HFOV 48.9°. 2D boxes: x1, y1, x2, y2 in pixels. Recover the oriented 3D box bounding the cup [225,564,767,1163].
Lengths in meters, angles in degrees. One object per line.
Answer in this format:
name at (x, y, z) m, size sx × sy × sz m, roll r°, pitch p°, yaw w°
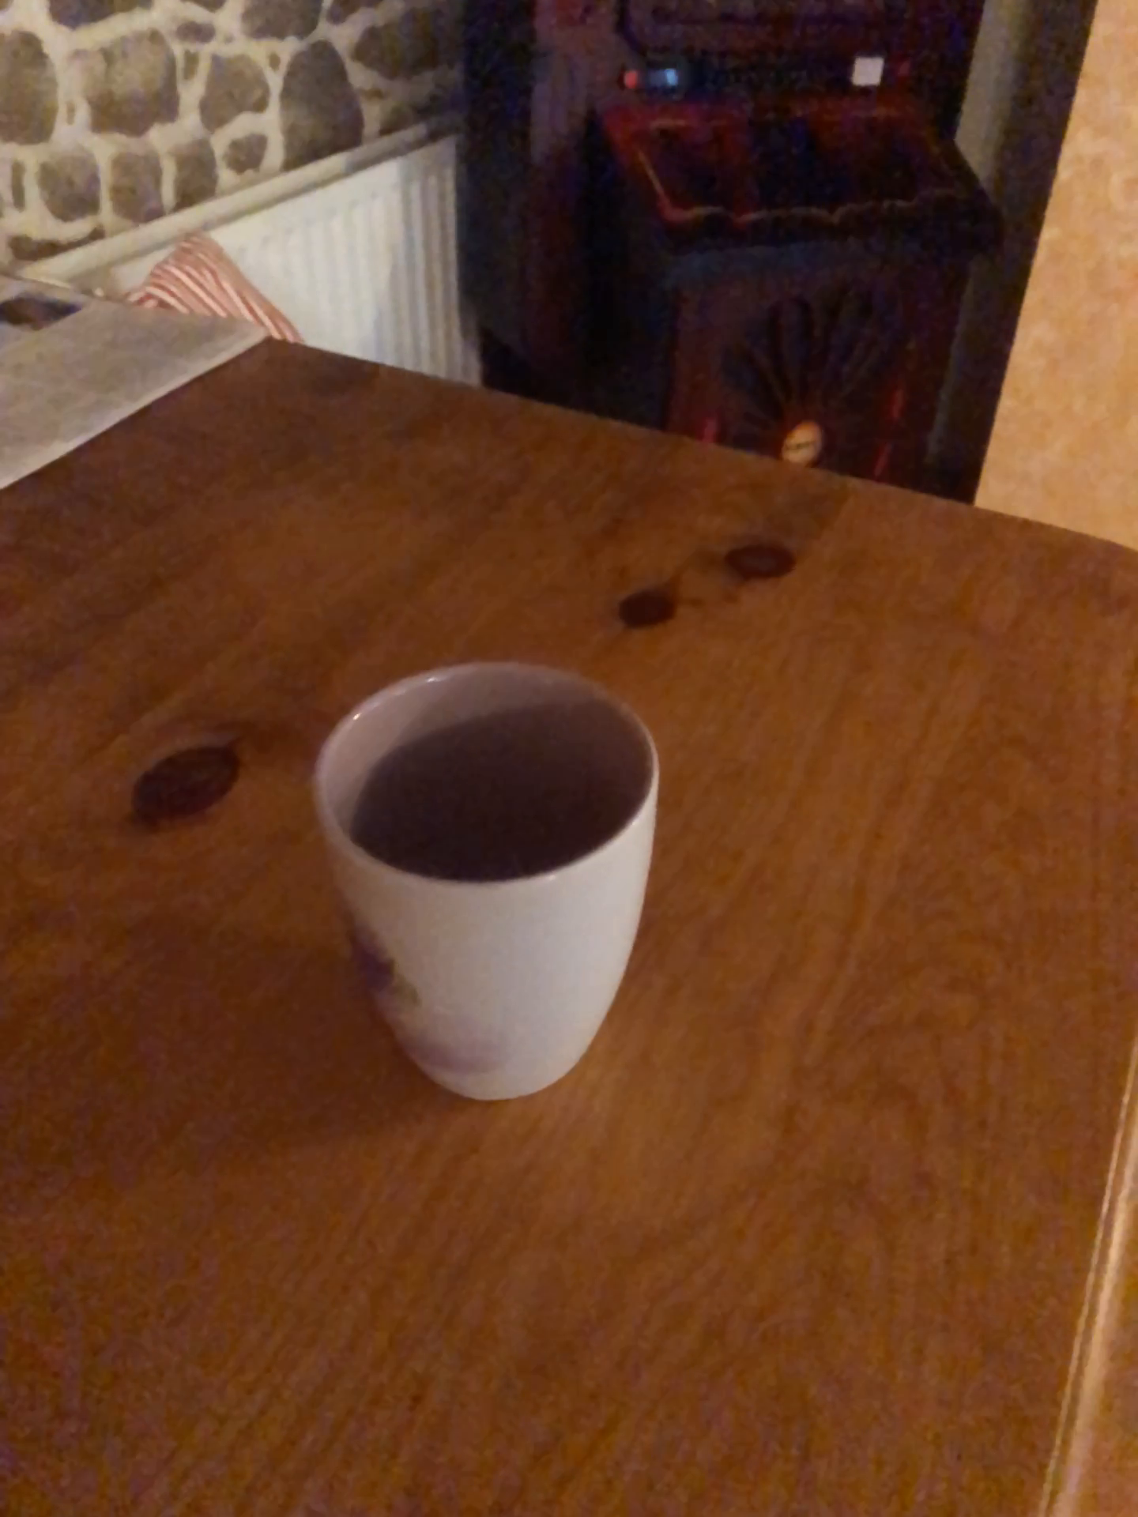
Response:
cup at (-0.025, 0.024, 0.370) m, size 0.101 × 0.095 × 0.120 m, roll -21°, pitch 44°, yaw -26°
